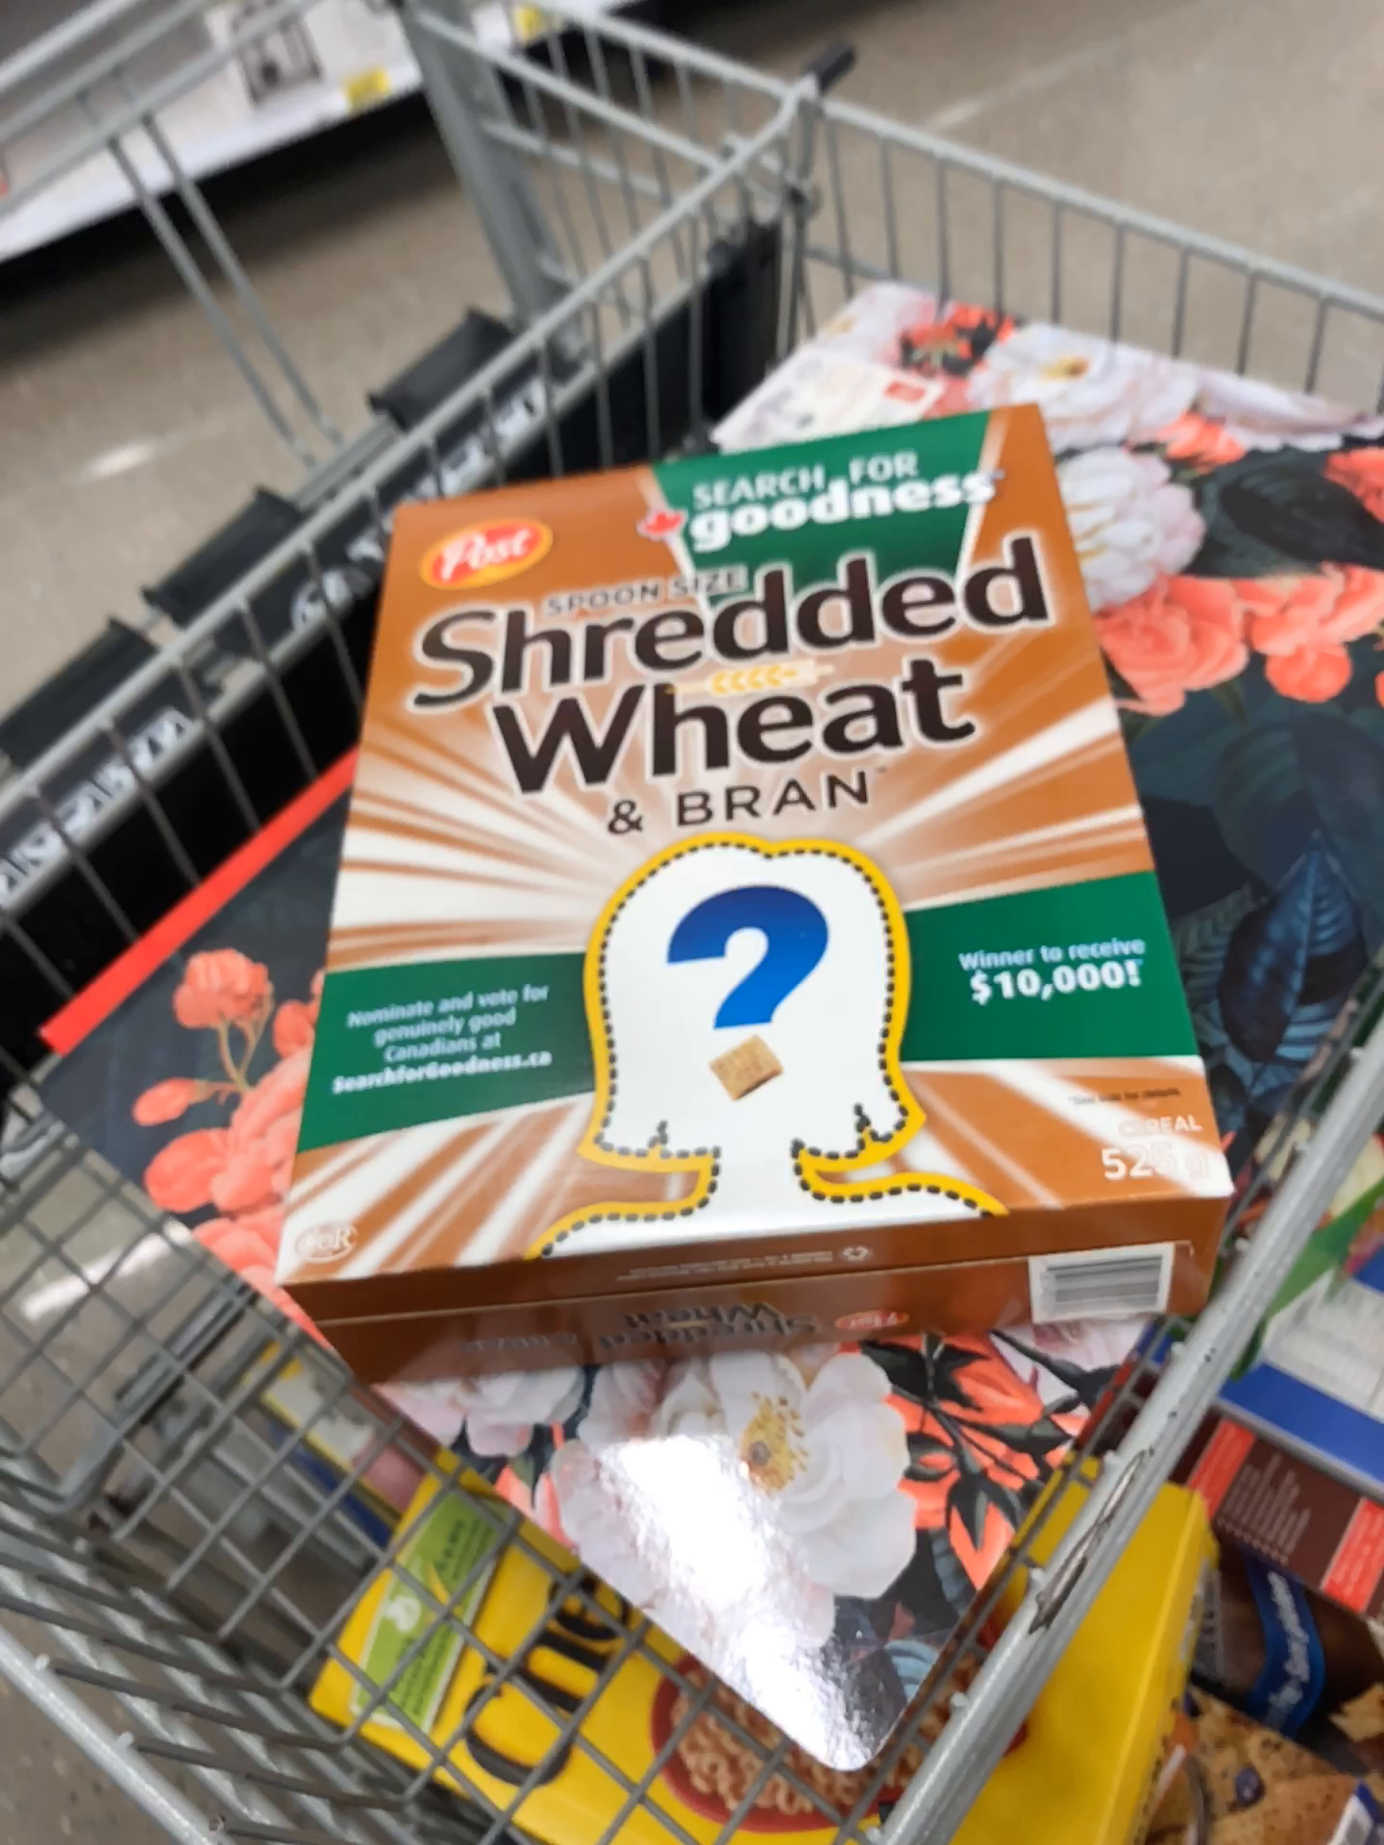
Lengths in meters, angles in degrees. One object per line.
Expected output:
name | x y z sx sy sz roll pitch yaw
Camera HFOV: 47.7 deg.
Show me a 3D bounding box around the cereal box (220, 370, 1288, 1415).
cereal box | 0.012 -0.028 0.443 0.220 0.070 0.301 -6 50 6
